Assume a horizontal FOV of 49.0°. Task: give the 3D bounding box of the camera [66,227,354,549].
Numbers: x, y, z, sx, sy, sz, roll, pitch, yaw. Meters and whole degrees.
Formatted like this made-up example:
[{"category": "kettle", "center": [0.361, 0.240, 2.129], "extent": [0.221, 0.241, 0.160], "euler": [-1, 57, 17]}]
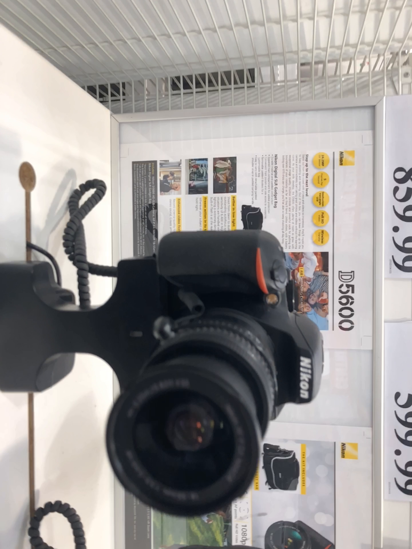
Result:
[{"category": "camera", "center": [0.015, 0.038, 0.256], "extent": [0.160, 0.110, 0.120], "euler": [-38, 127, -77]}]
